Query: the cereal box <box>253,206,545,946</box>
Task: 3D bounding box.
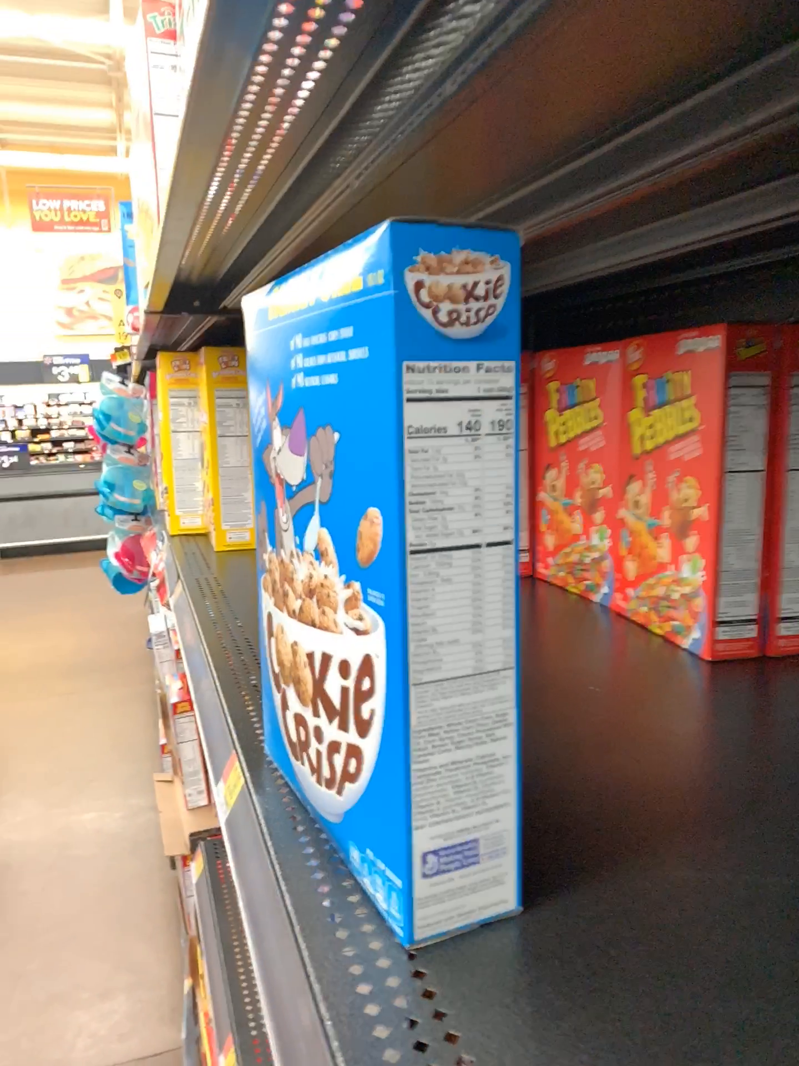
[{"bbox_3d":[-0.013,0.010,0.494,0.070,0.339,0.251,-5,10,-24],"label":"cereal box"}]
